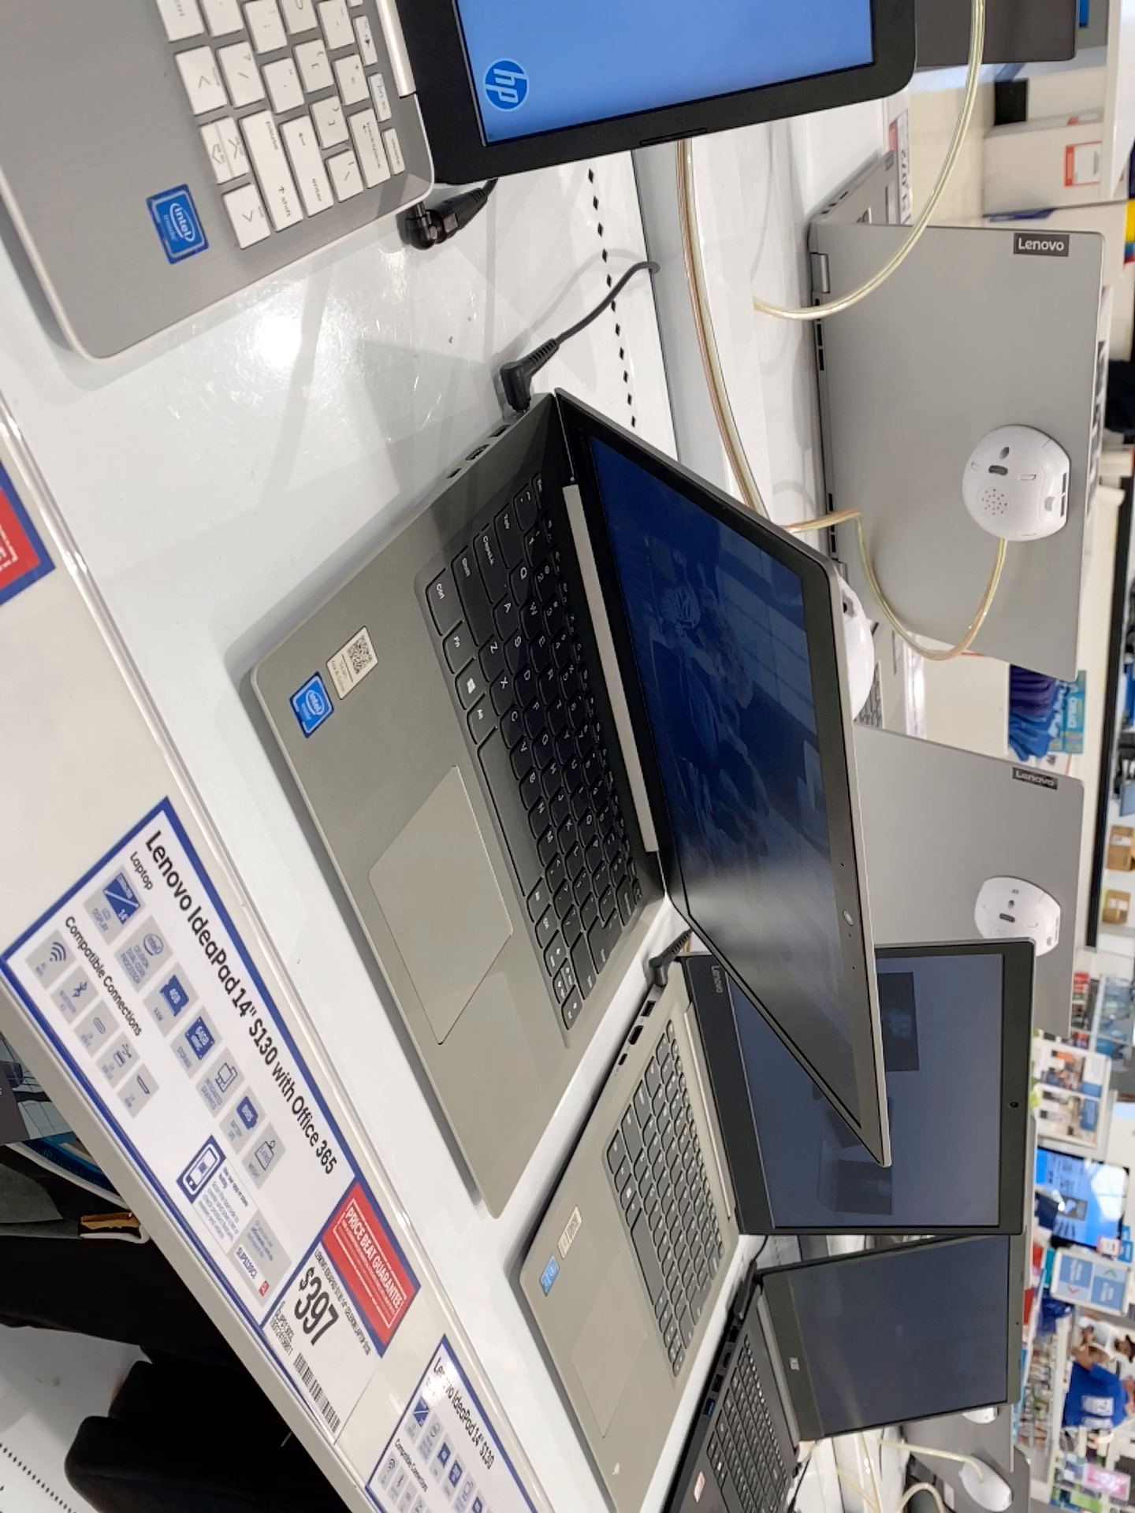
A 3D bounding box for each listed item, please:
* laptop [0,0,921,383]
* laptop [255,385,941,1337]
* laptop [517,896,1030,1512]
[{"bbox_3d":[-0.030,-0.306,0.293,0.285,0.155,0.305,-53,139,-43],"label":"laptop"},{"bbox_3d":[0.054,0.042,0.520,0.231,0.170,0.331,-55,142,-43],"label":"laptop"},{"bbox_3d":[0.167,0.327,0.767,0.310,0.215,0.330,-55,142,-44],"label":"laptop"}]
